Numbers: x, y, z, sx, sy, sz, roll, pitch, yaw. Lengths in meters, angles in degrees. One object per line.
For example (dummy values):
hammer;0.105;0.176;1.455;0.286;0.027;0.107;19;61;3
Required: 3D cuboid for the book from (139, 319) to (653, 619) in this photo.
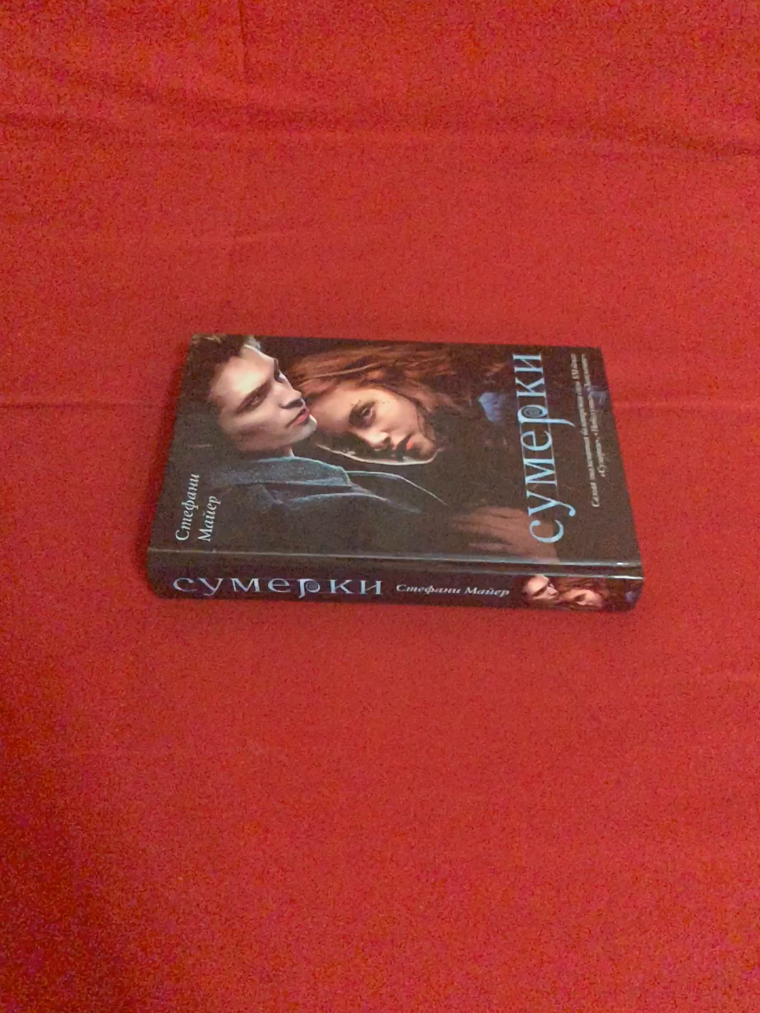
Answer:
book;0.008;-0.021;0.367;0.209;0.036;0.134;2;60;-1
